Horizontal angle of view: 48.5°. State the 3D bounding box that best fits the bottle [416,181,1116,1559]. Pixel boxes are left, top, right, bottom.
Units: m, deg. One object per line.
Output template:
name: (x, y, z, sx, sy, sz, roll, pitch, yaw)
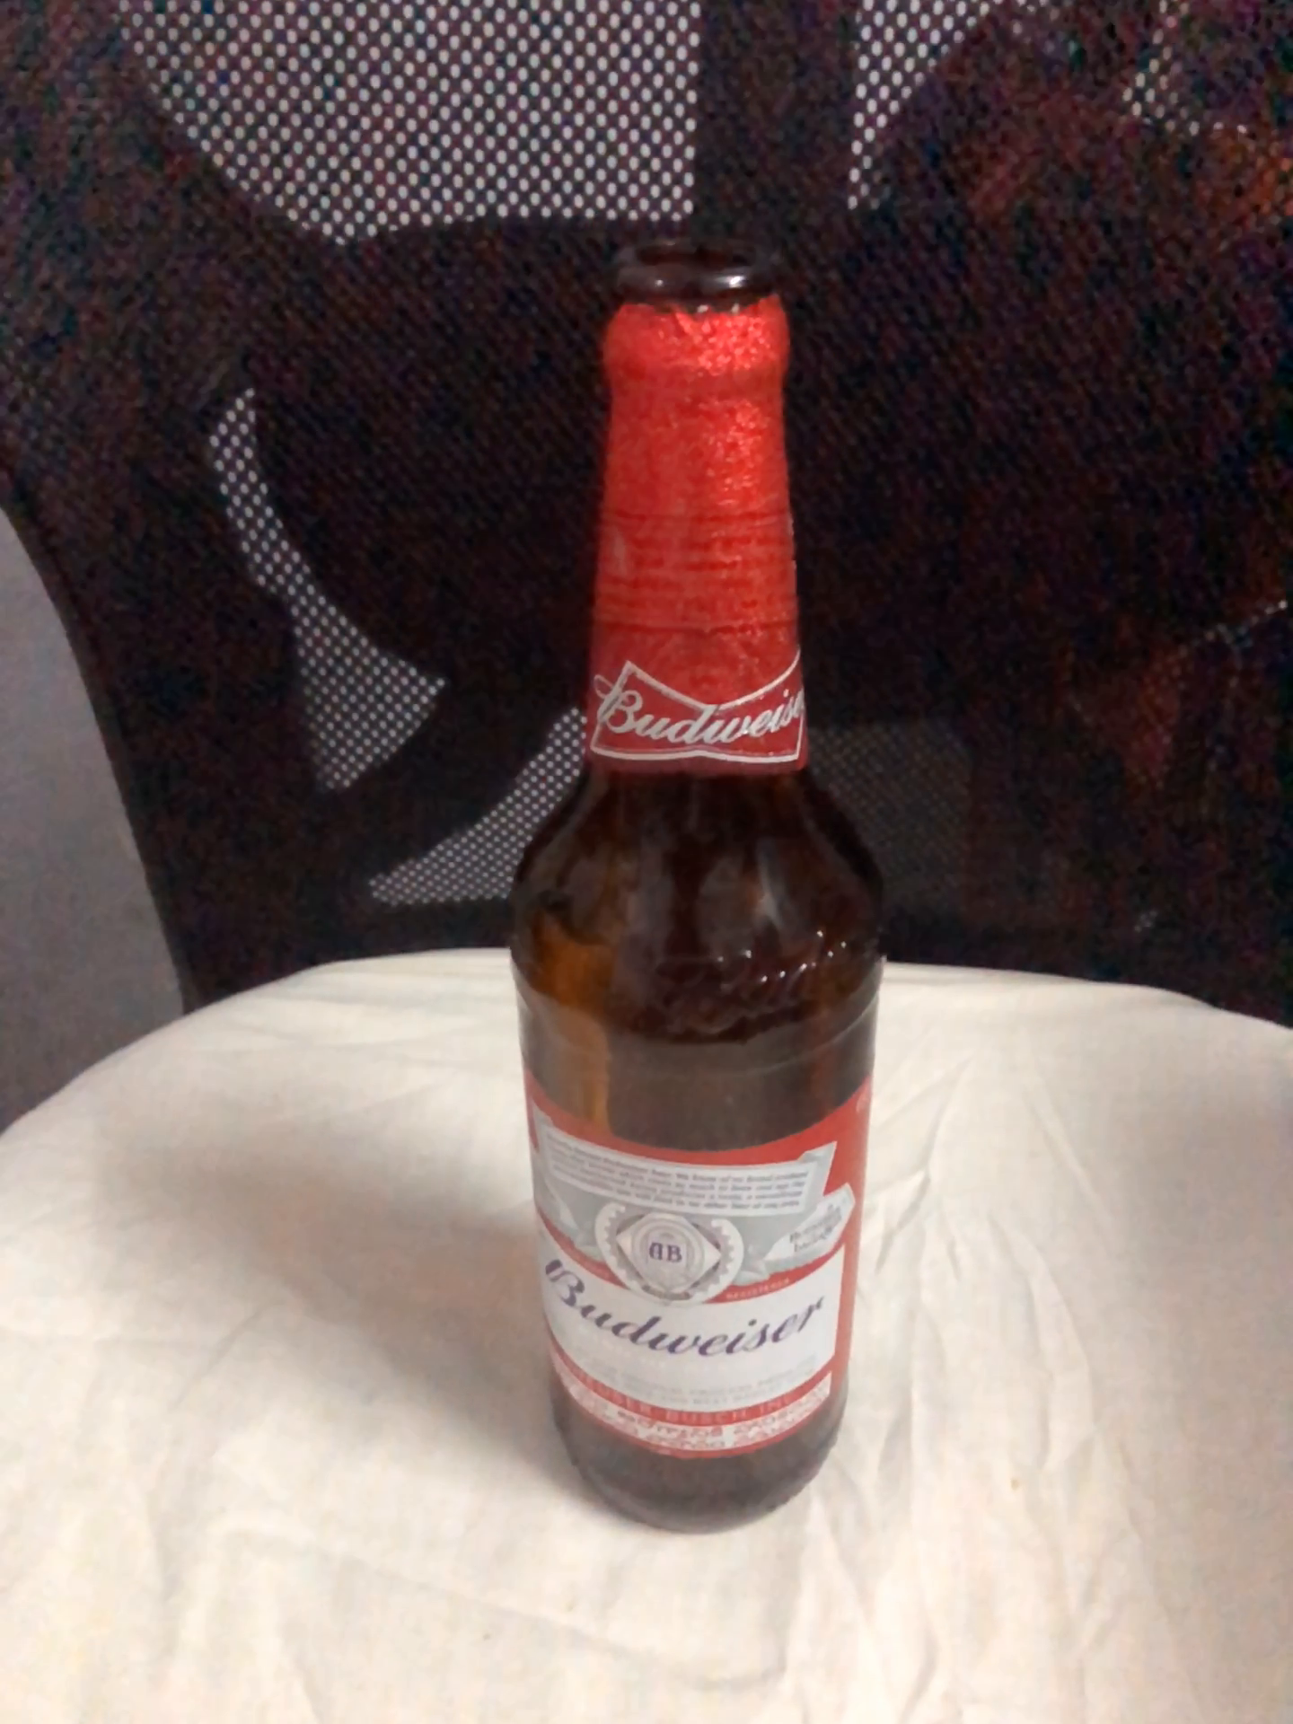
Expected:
bottle: (0.014, 0.026, 0.272, 0.080, 0.269, 0.070, 3, 36, 2)
